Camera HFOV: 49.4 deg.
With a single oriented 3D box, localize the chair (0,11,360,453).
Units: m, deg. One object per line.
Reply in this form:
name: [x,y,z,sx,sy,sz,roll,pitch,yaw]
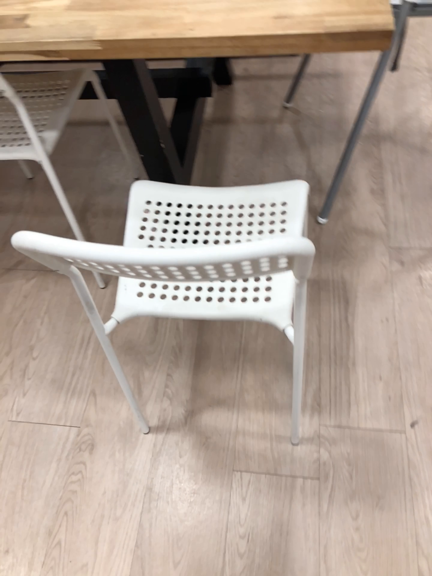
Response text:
chair: [-0.006,-0.028,0.876,0.420,0.697,0.452,3,59,9]
